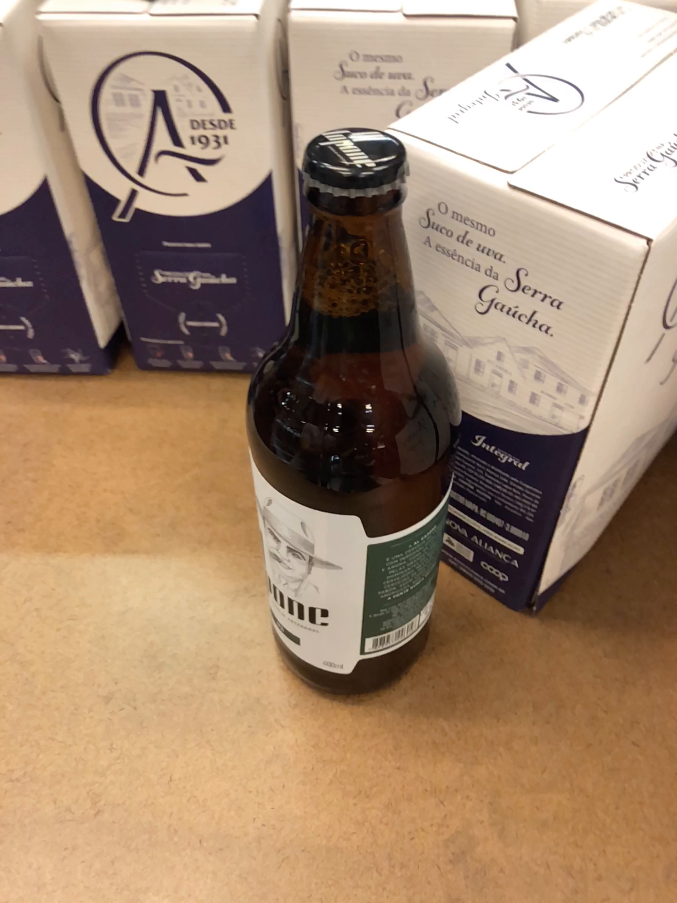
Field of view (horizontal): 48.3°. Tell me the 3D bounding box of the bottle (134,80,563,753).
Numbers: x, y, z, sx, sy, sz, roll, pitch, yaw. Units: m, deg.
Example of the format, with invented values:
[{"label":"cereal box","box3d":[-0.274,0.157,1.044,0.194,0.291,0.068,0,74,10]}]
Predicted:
[{"label":"bottle","box3d":[0.001,0.009,0.267,0.070,0.228,0.080,-29,53,-23]}]
